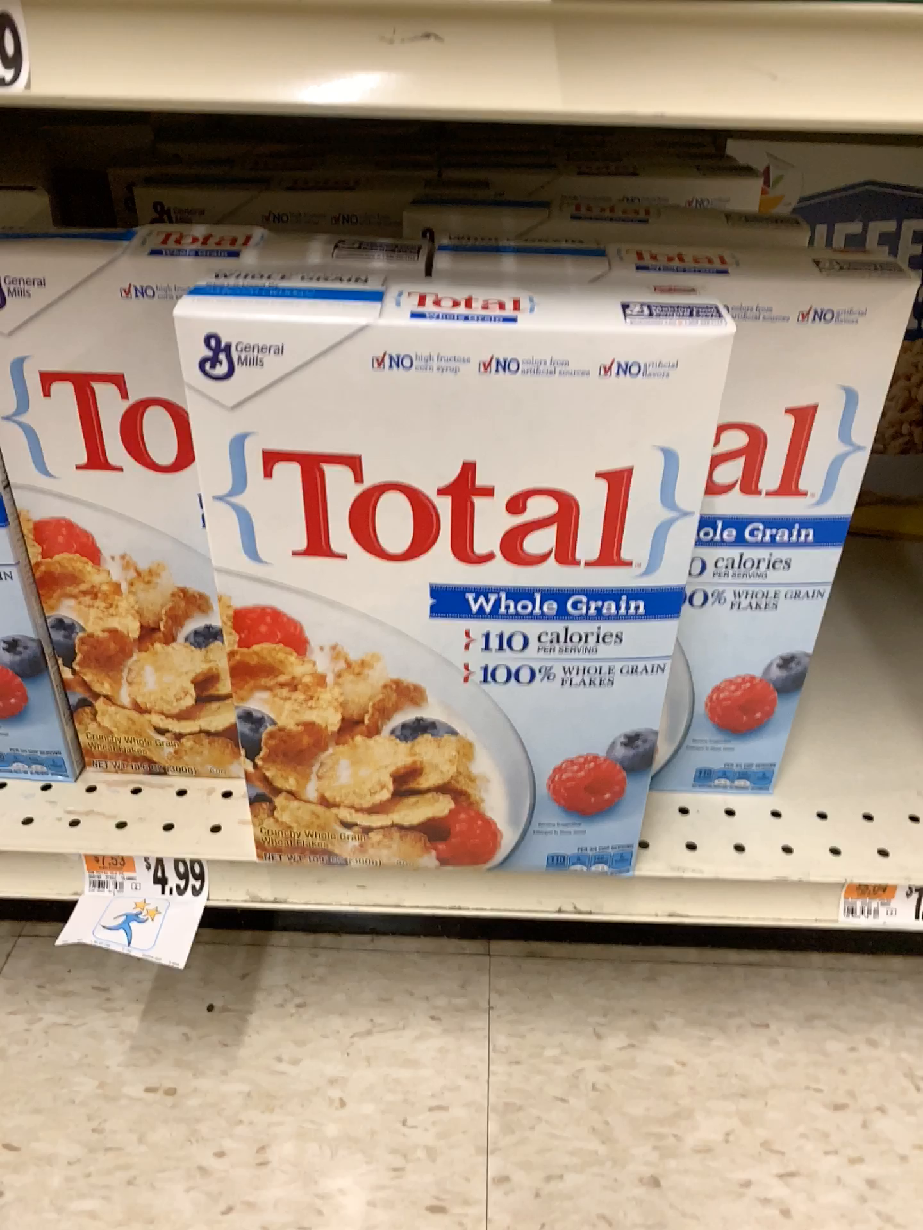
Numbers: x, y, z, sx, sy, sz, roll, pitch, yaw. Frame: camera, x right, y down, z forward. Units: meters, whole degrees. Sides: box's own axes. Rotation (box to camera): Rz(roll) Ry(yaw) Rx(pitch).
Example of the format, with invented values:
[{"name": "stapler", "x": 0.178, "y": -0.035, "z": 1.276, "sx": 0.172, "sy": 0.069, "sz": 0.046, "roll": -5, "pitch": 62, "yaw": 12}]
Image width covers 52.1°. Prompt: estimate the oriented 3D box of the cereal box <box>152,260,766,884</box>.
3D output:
[{"name": "cereal box", "x": -0.003, "y": 0.000, "z": 0.408, "sx": 0.200, "sy": 0.278, "sz": 0.050, "roll": 2, "pitch": 35, "yaw": 1}]
